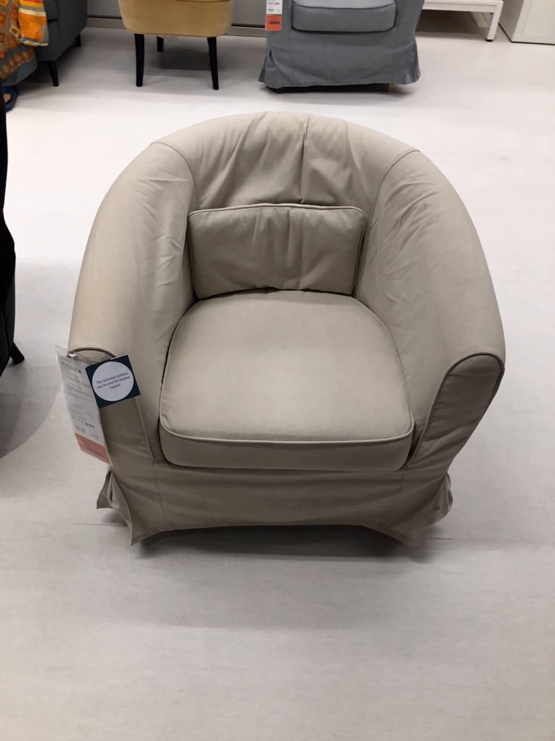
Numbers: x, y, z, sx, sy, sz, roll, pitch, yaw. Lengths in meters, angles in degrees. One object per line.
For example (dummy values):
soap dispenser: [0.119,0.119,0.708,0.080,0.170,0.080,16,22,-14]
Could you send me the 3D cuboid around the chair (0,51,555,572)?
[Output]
chair: [0.010,-0.096,1.278,0.860,0.805,0.704,0,47,-3]
